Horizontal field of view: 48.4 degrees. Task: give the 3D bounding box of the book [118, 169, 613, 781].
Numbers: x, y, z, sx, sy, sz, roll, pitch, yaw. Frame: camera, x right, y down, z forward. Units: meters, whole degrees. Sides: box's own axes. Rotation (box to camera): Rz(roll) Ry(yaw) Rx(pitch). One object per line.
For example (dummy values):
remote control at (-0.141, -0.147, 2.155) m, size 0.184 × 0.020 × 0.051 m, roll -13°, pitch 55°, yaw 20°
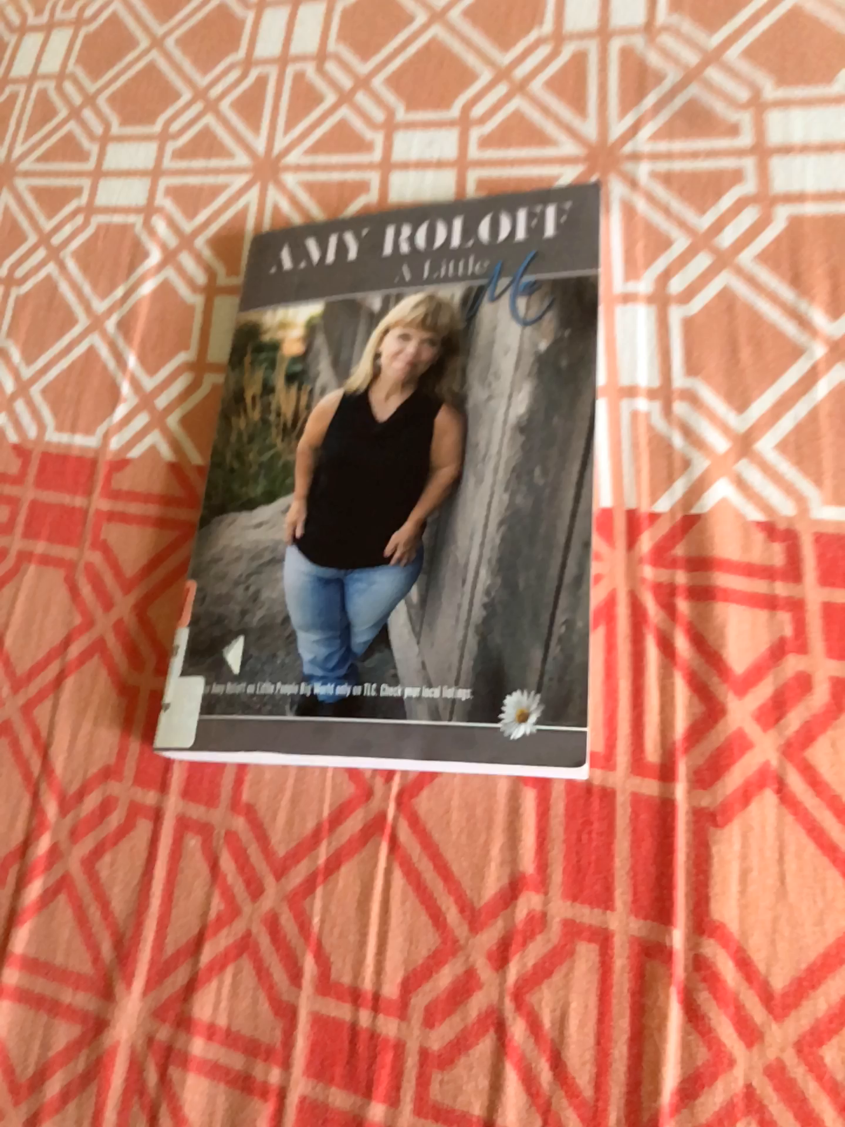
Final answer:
book at (-0.014, -0.036, 0.344) m, size 0.158 × 0.030 × 0.215 m, roll -1°, pitch 70°, yaw 17°
